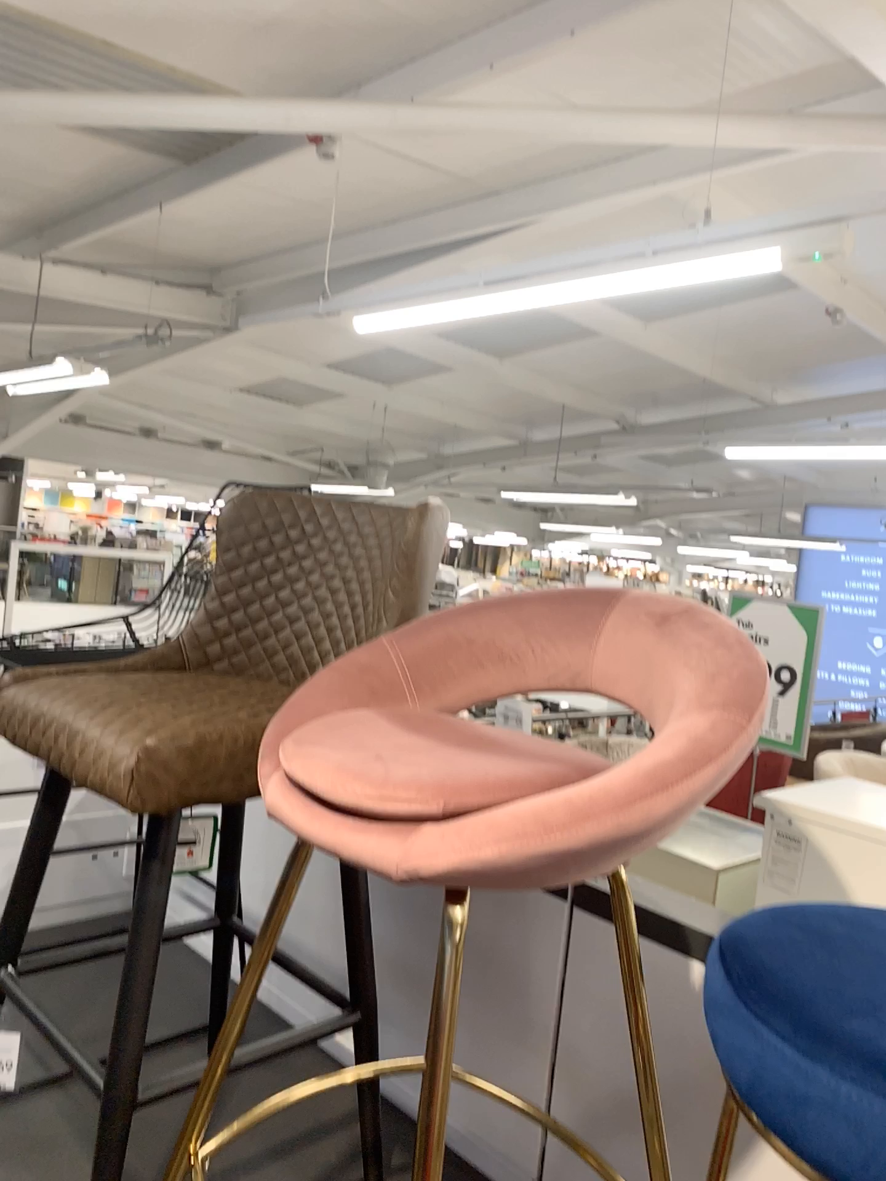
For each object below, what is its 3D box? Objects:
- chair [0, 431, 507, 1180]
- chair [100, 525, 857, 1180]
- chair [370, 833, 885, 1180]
[{"bbox_3d":[-0.304,0.305,1.238,0.502,0.961,0.451,7,1,43],"label":"chair"},{"bbox_3d":[0.019,0.398,0.920,0.461,0.861,0.492,6,1,-40],"label":"chair"},{"bbox_3d":[0.299,0.551,0.564,0.431,0.621,0.462,6,1,-40],"label":"chair"}]
